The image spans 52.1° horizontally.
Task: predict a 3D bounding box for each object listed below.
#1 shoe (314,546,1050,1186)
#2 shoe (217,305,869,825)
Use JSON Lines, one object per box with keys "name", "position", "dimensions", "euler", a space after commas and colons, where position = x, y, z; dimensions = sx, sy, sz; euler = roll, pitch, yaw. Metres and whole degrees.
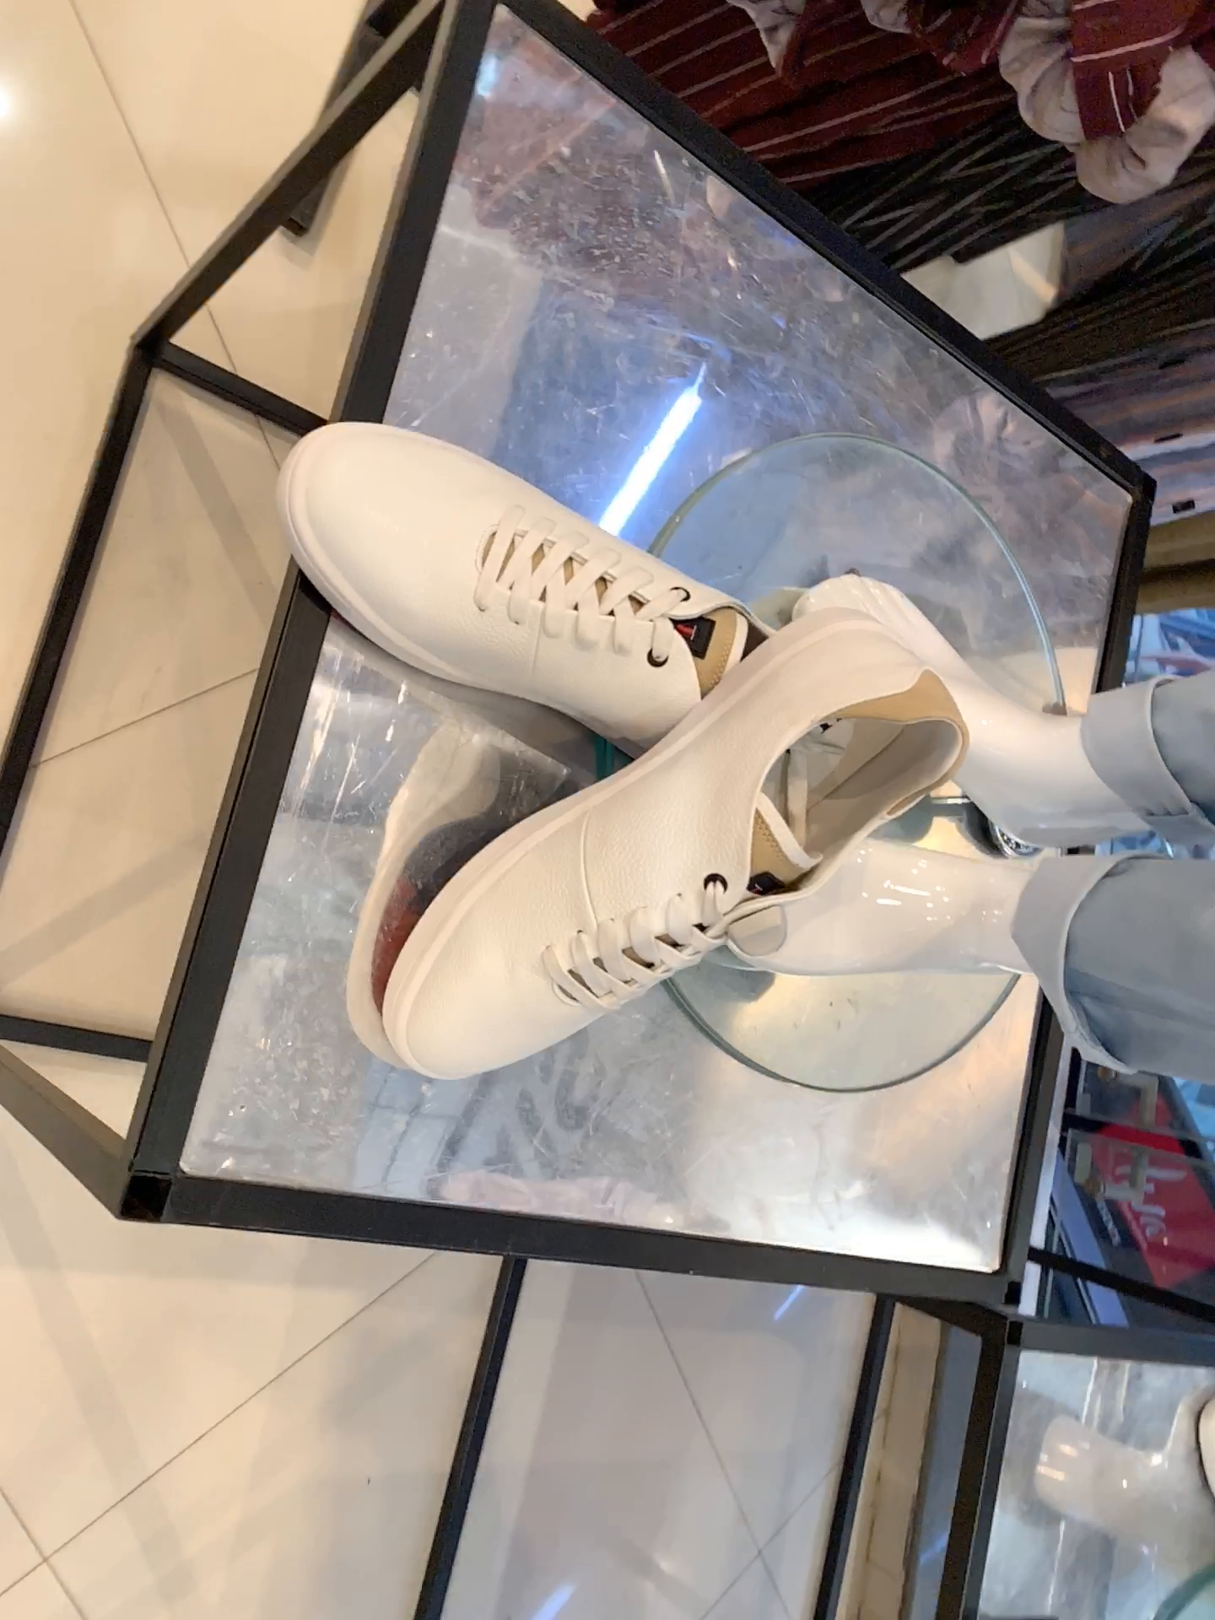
{"name": "shoe", "position": [0.039, 0.018, 0.532], "dimensions": [0.300, 0.080, 0.100], "euler": [-34, 128, -9]}
{"name": "shoe", "position": [-0.018, -0.095, 0.596], "dimensions": [0.291, 0.100, 0.100], "euler": [28, 74, -32]}
